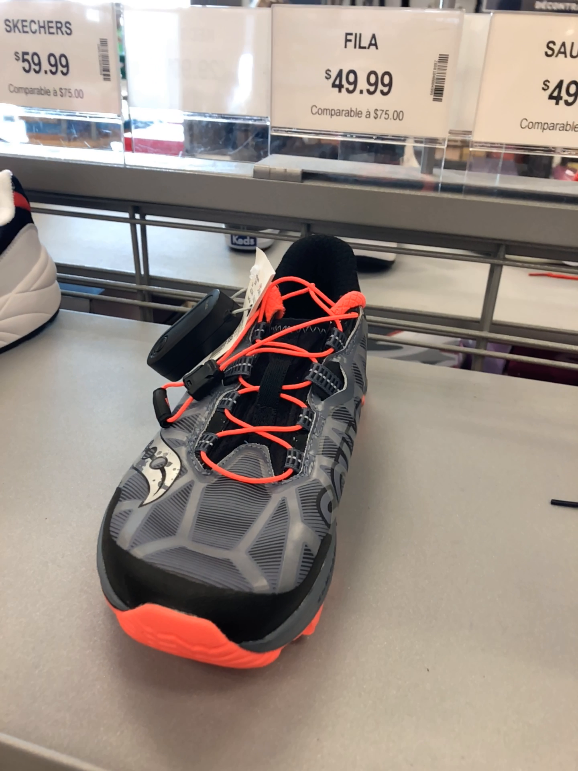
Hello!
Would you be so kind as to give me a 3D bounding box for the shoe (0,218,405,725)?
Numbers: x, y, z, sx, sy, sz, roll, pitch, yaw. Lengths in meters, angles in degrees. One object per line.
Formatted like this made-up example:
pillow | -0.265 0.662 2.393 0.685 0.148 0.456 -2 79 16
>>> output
shoe | -0.011 0.003 0.349 0.110 0.109 0.292 8 29 12
